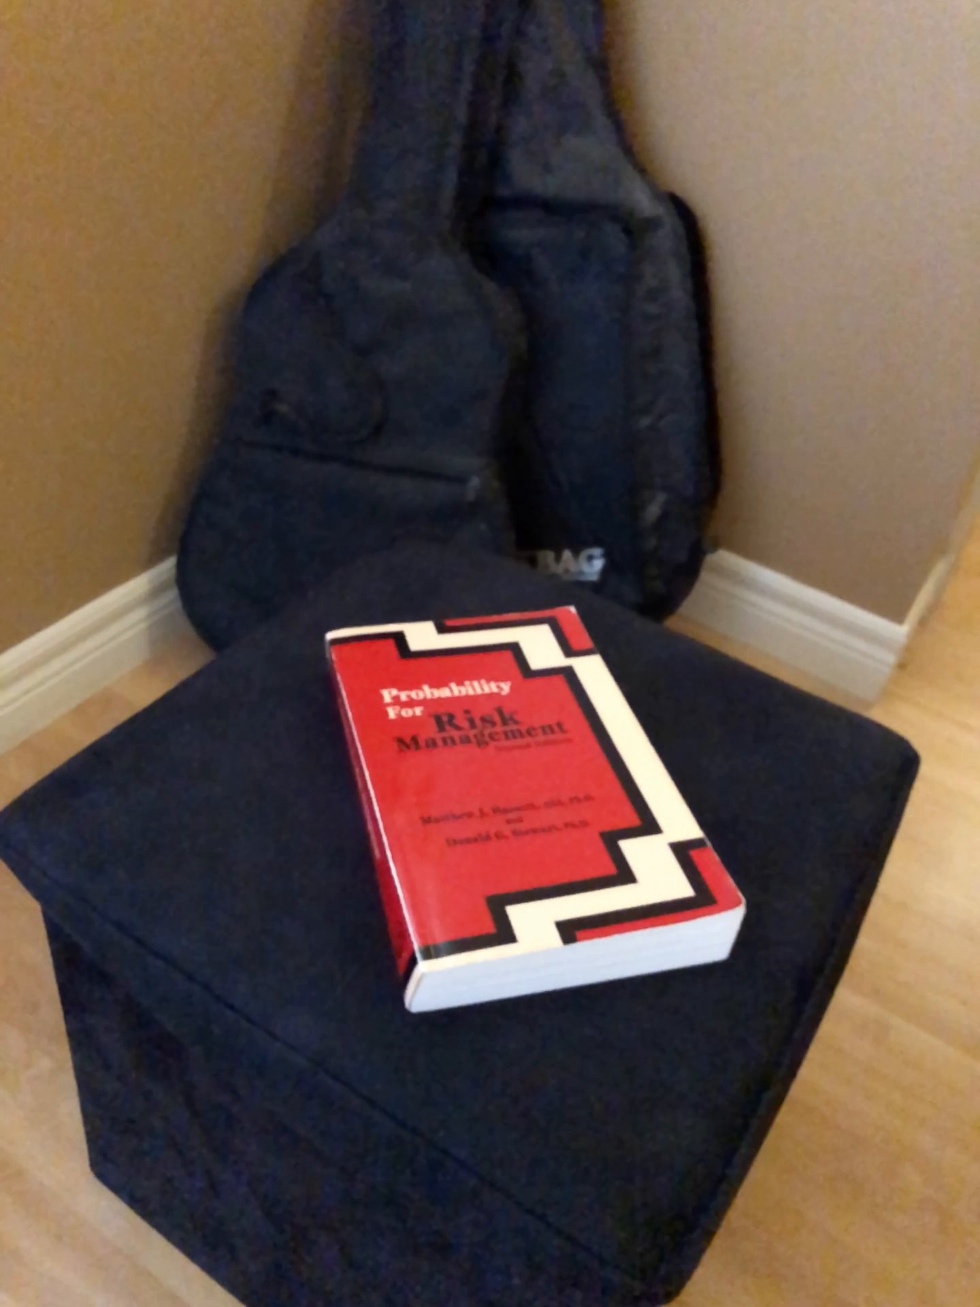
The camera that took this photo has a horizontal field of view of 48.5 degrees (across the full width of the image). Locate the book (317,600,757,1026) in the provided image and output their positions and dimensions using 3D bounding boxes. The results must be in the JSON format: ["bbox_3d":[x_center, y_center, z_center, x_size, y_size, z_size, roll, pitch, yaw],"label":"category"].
[{"bbox_3d":[0.009,0.060,0.525,0.150,0.041,0.216,-5,40,-17],"label":"book"}]
